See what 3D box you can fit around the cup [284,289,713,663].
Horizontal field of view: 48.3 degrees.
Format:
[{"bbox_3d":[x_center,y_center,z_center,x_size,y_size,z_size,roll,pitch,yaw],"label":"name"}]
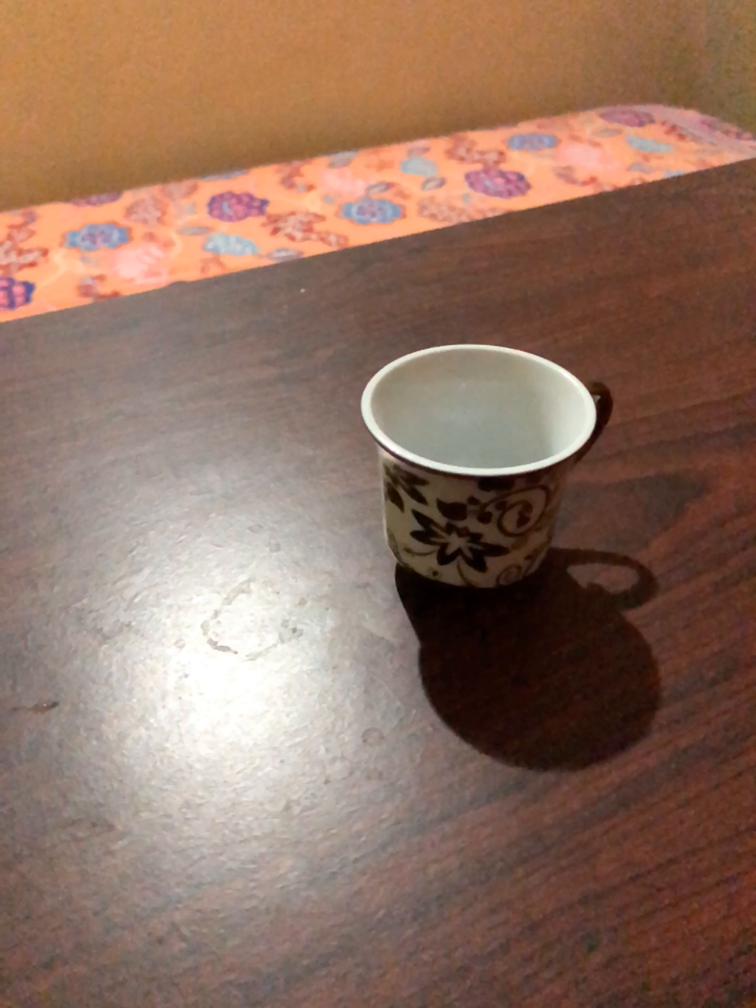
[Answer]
[{"bbox_3d":[0.032,-0.014,0.242,0.090,0.050,0.070,-24,45,-24],"label":"cup"}]
